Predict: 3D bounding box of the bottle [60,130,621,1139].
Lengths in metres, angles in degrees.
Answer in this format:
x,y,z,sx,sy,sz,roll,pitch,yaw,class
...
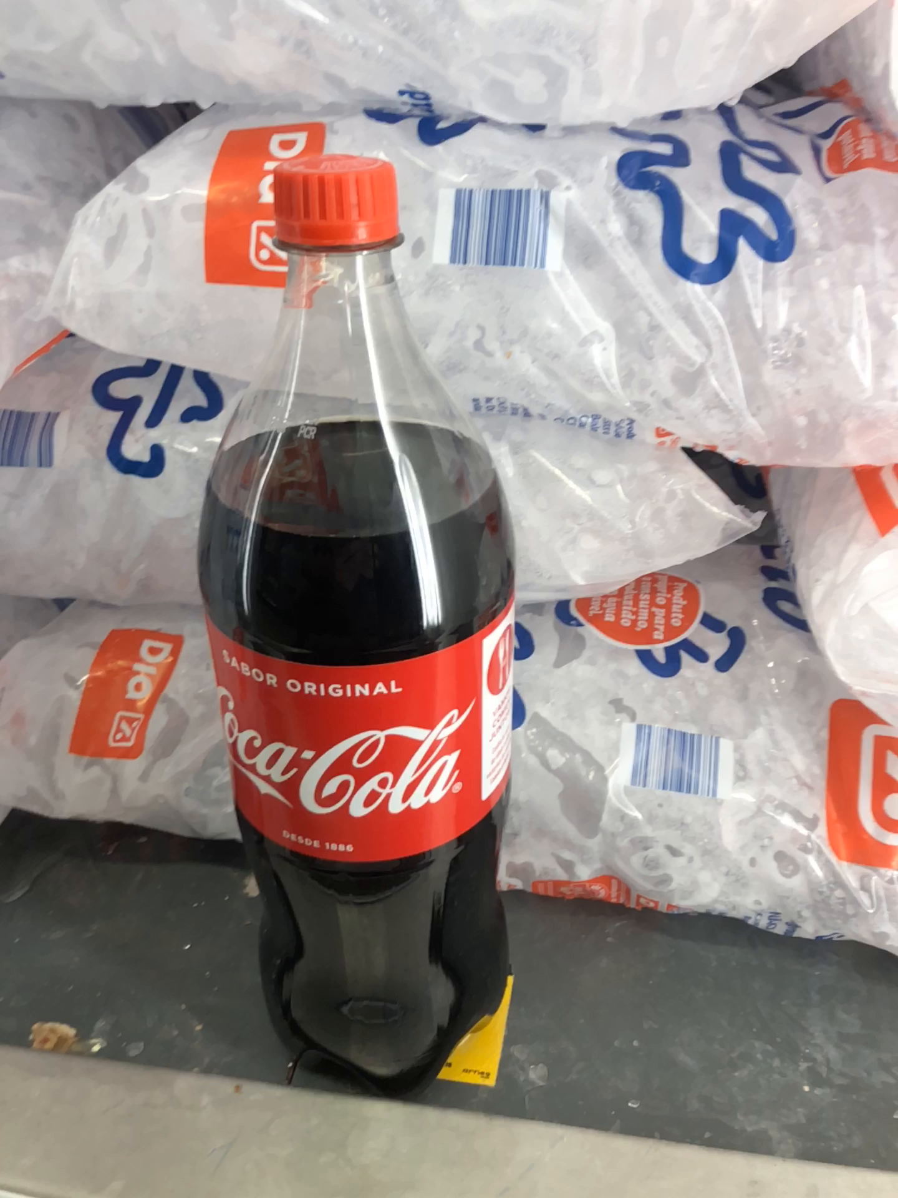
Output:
x,y,z,sx,sy,sz,roll,pitch,yaw,class
-0.020,0.026,0.296,0.100,0.288,0.081,10,33,15,bottle
